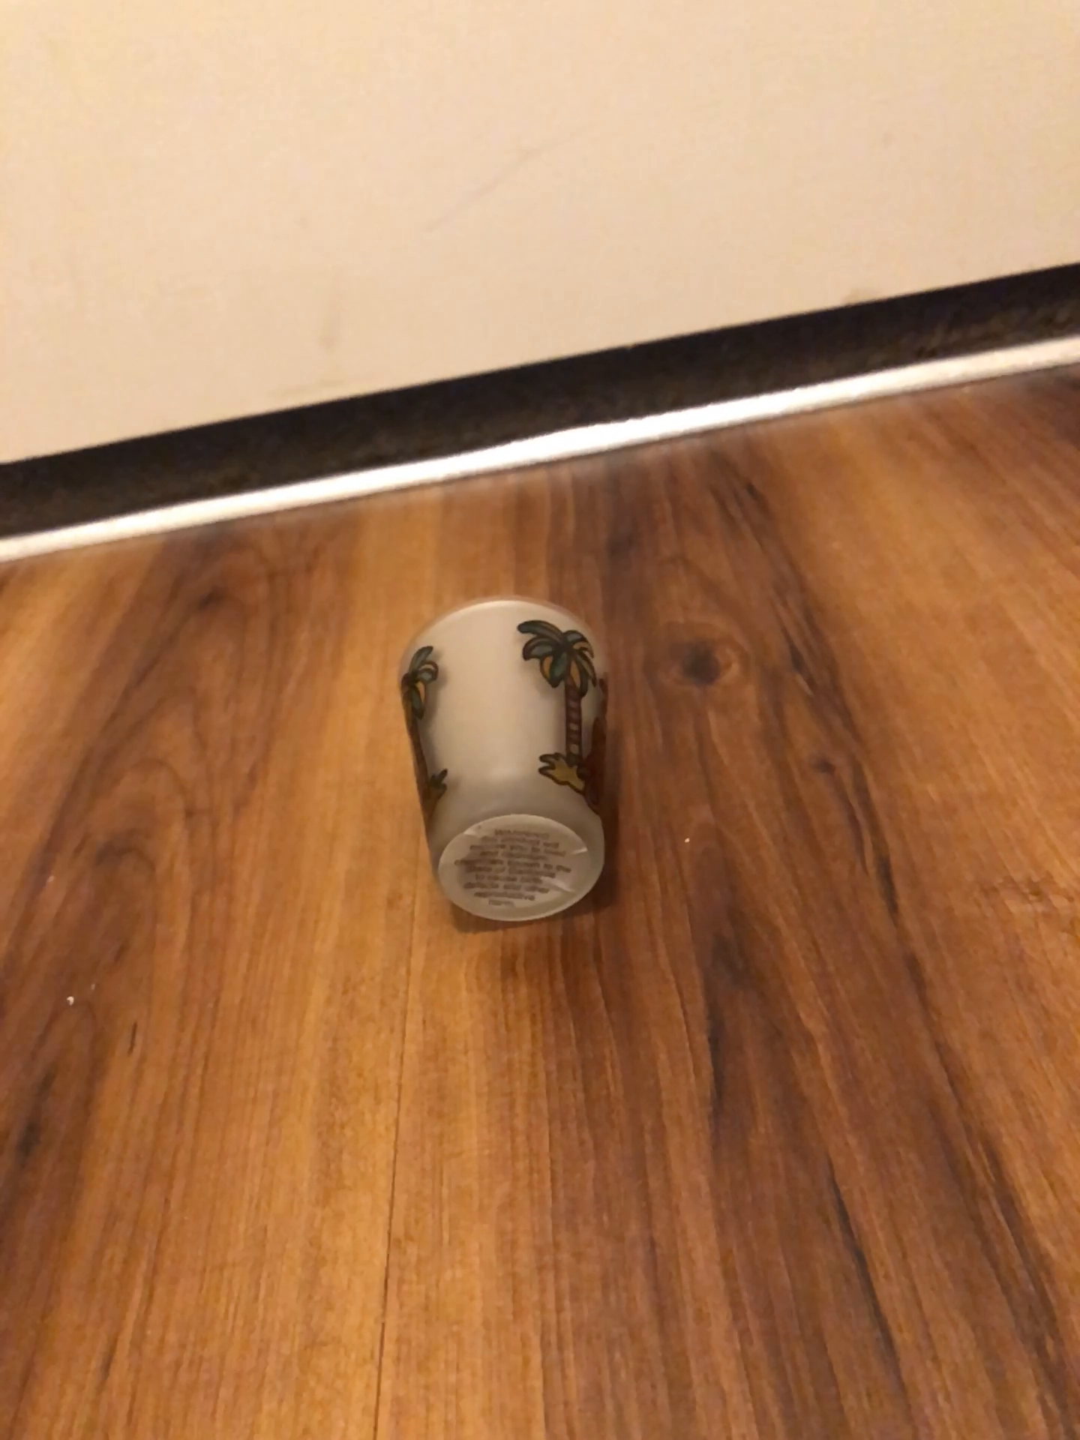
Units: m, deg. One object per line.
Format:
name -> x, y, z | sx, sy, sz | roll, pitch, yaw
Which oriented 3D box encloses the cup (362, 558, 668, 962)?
cup -> -0.005, 0.006, 0.257 | 0.050, 0.045, 0.070 | -10, 35, 4
